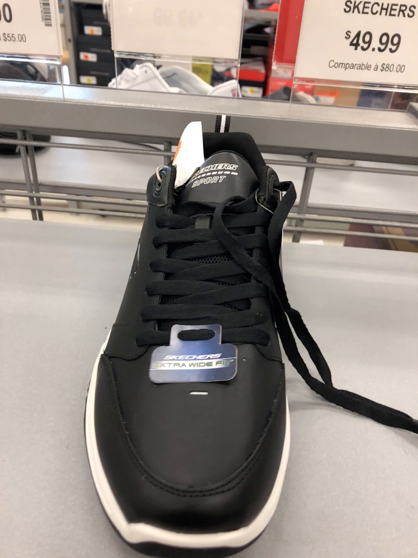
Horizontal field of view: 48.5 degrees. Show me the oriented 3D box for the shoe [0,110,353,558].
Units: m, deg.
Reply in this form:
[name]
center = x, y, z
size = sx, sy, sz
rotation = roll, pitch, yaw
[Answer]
[shoe]
center = -0.012, -0.008, 0.325
size = 0.130, 0.109, 0.353
rotation = 5, 35, 1
